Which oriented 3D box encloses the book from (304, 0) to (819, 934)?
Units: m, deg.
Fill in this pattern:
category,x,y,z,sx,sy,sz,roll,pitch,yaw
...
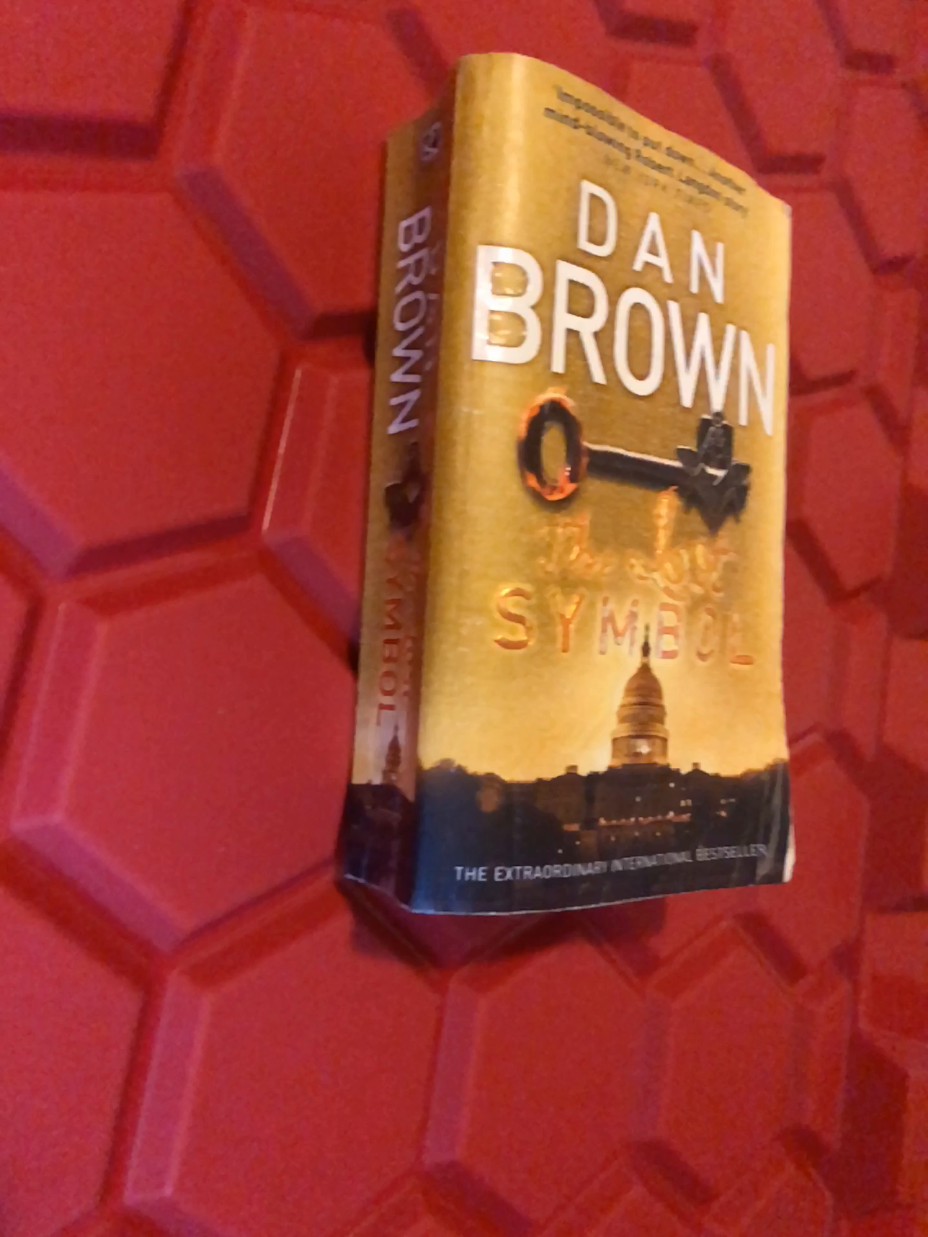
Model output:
category,x,y,z,sx,sy,sz,roll,pitch,yaw
book,0.031,-0.027,0.257,0.122,0.051,0.183,6,84,-39
